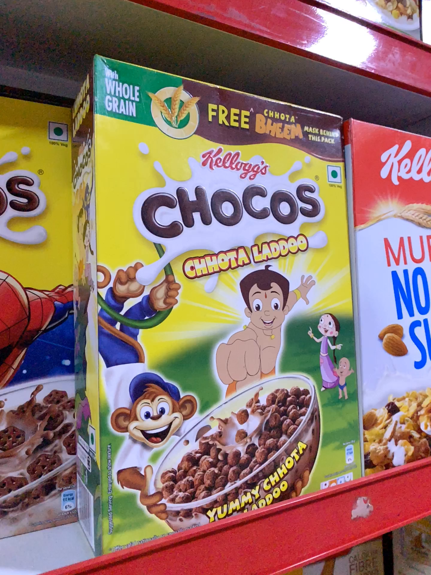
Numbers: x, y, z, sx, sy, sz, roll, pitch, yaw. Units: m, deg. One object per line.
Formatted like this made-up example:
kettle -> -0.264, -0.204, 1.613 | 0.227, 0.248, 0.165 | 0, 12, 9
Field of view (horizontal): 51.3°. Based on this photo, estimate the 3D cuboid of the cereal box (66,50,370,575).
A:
cereal box -> 0.004, 0.010, 0.296 | 0.180, 0.260, 0.070 | 0, -4, -30
